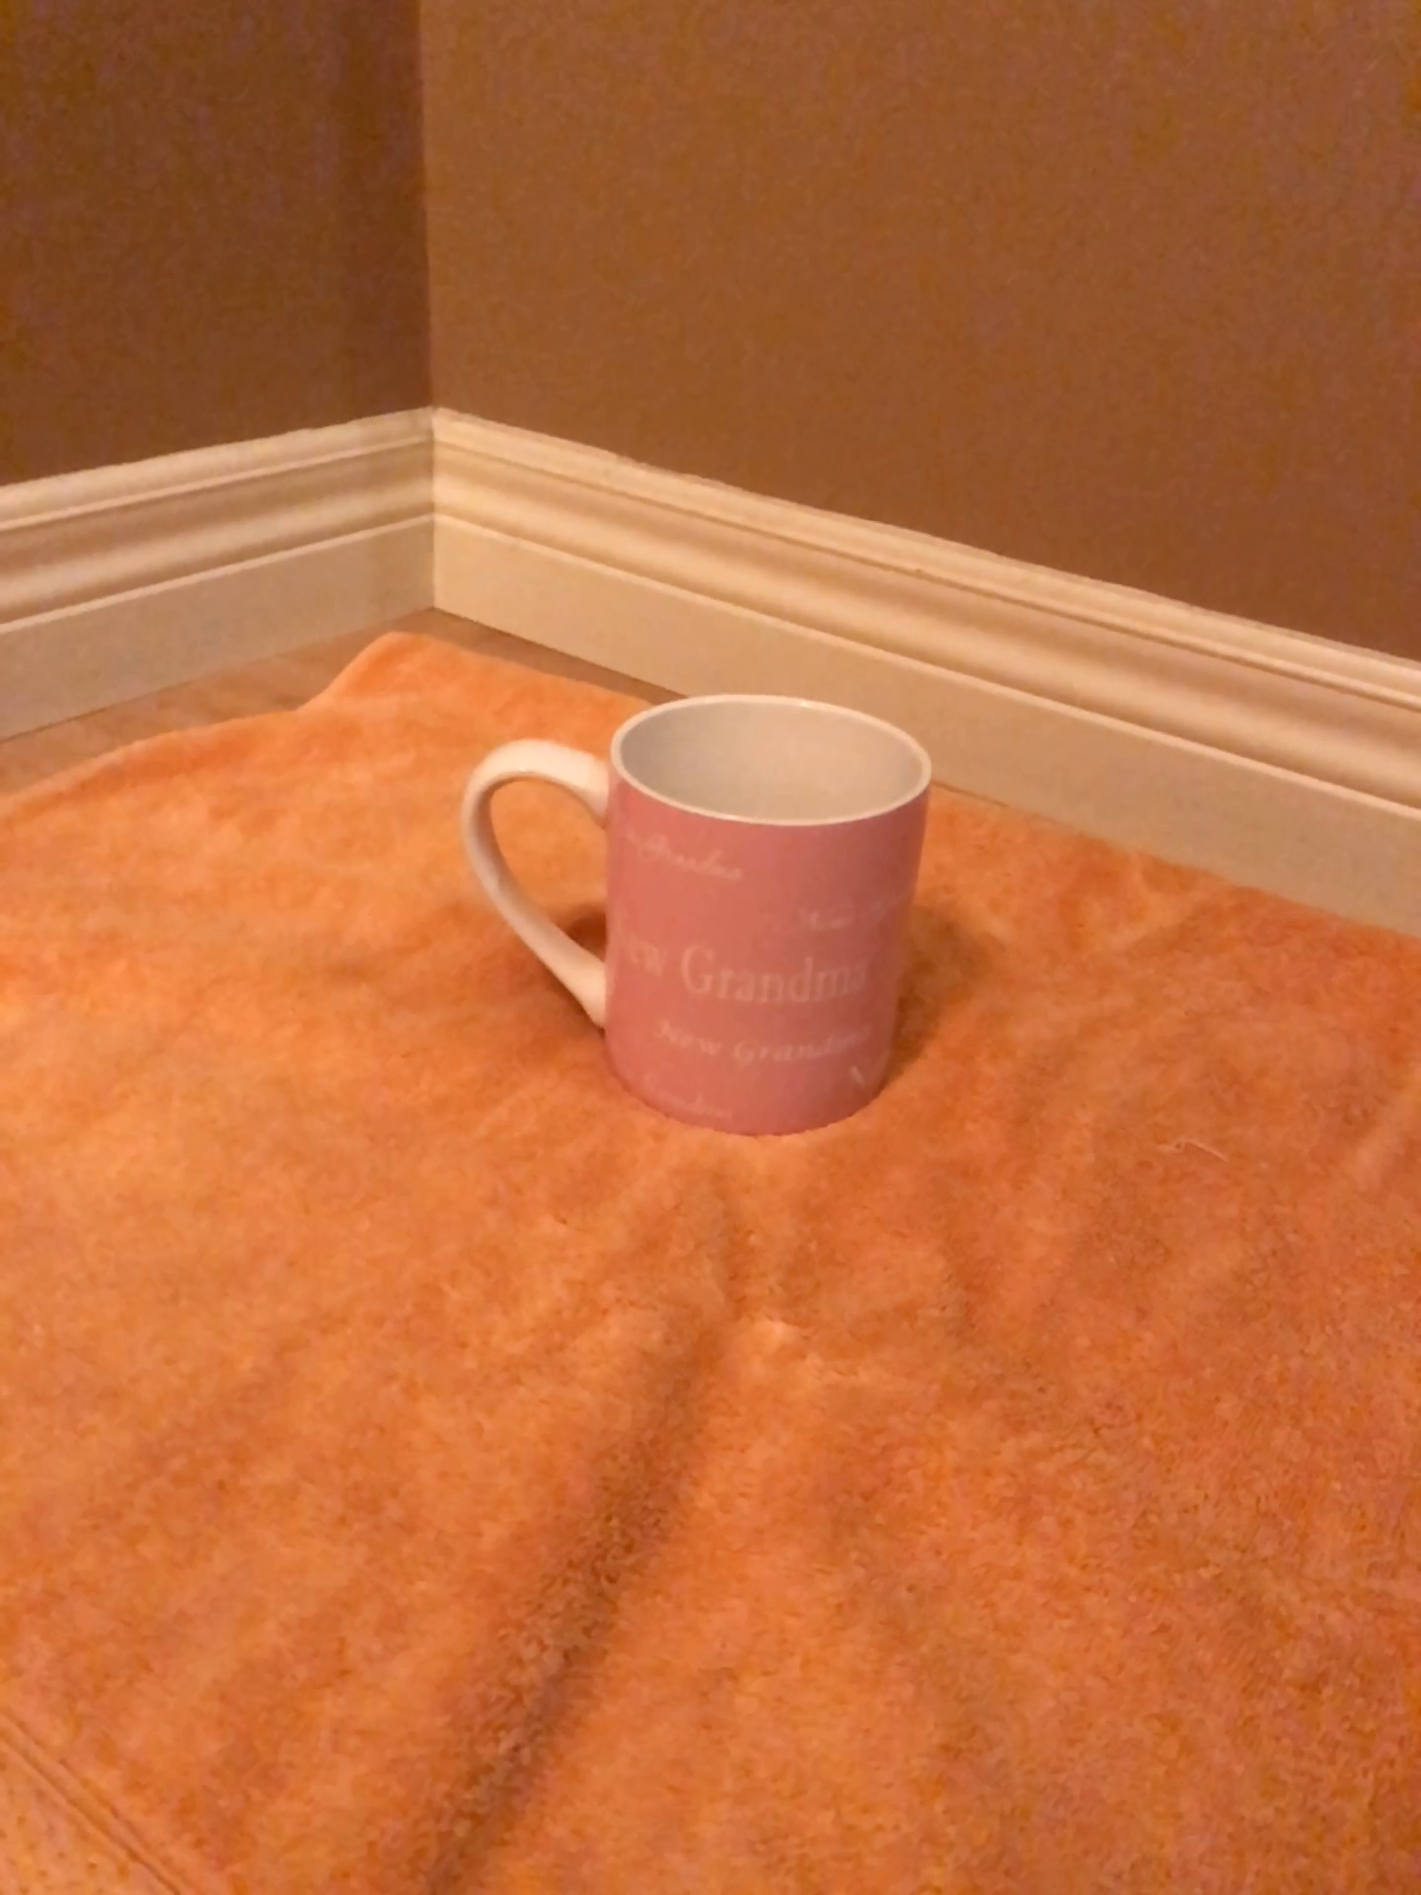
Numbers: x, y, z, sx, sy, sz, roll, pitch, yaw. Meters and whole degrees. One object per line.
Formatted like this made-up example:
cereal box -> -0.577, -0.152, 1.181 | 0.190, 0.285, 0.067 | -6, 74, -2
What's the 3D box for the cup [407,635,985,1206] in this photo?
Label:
cup -> -0.002, -0.014, 0.472 | 0.140, 0.109, 0.111 | 11, 30, 11
